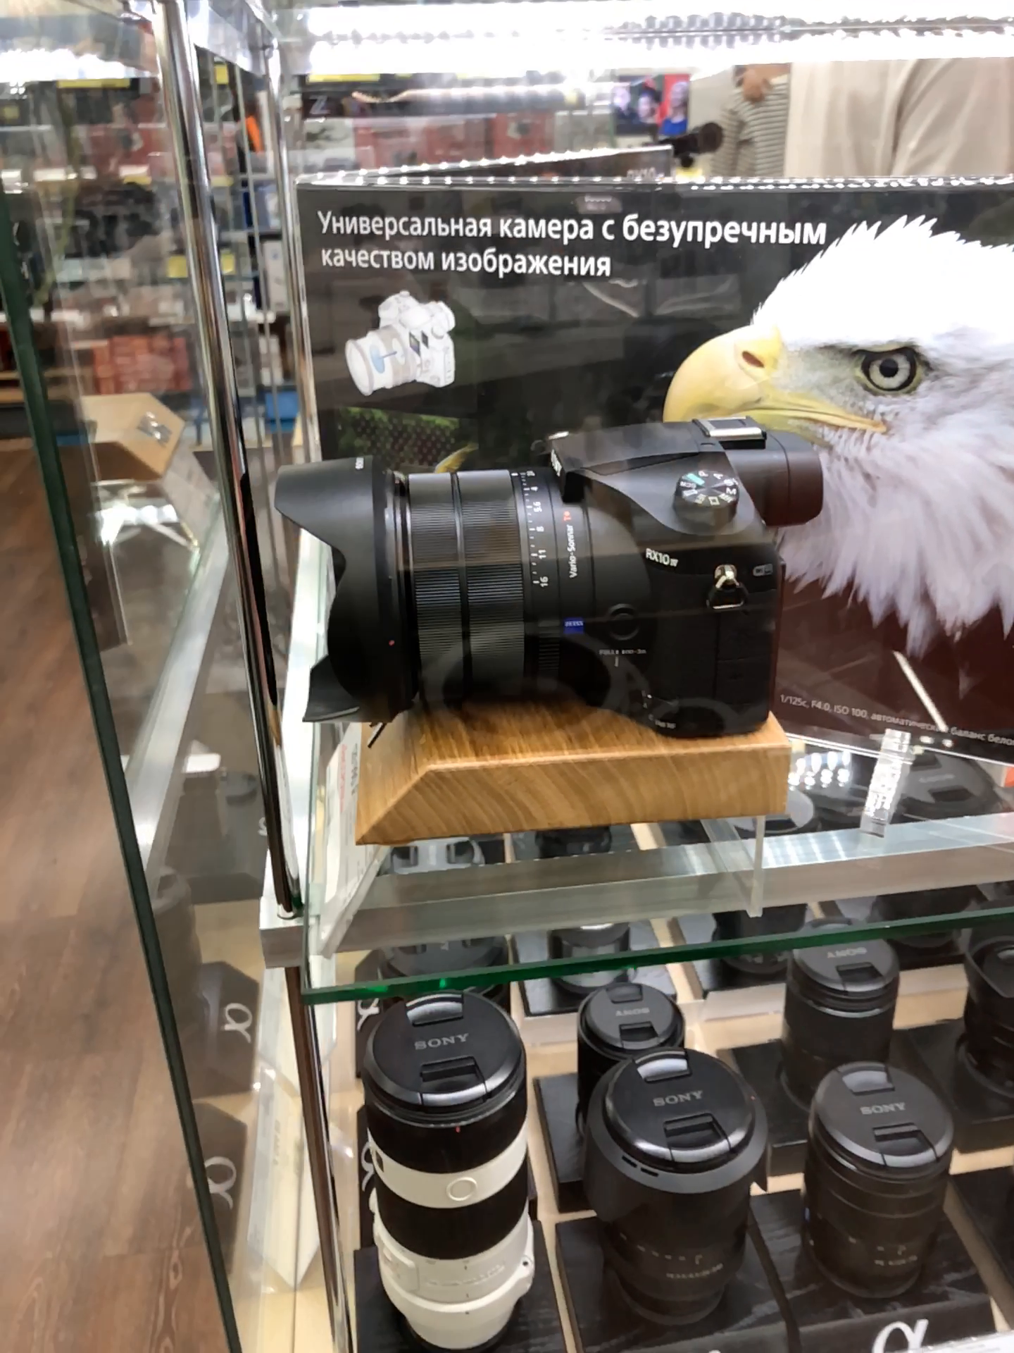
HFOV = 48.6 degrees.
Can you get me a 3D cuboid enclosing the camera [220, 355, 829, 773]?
[{"bbox_3d":[0.002,-0.048,0.402,0.178,0.099,0.127,-5,26,-5],"label":"camera"}]
